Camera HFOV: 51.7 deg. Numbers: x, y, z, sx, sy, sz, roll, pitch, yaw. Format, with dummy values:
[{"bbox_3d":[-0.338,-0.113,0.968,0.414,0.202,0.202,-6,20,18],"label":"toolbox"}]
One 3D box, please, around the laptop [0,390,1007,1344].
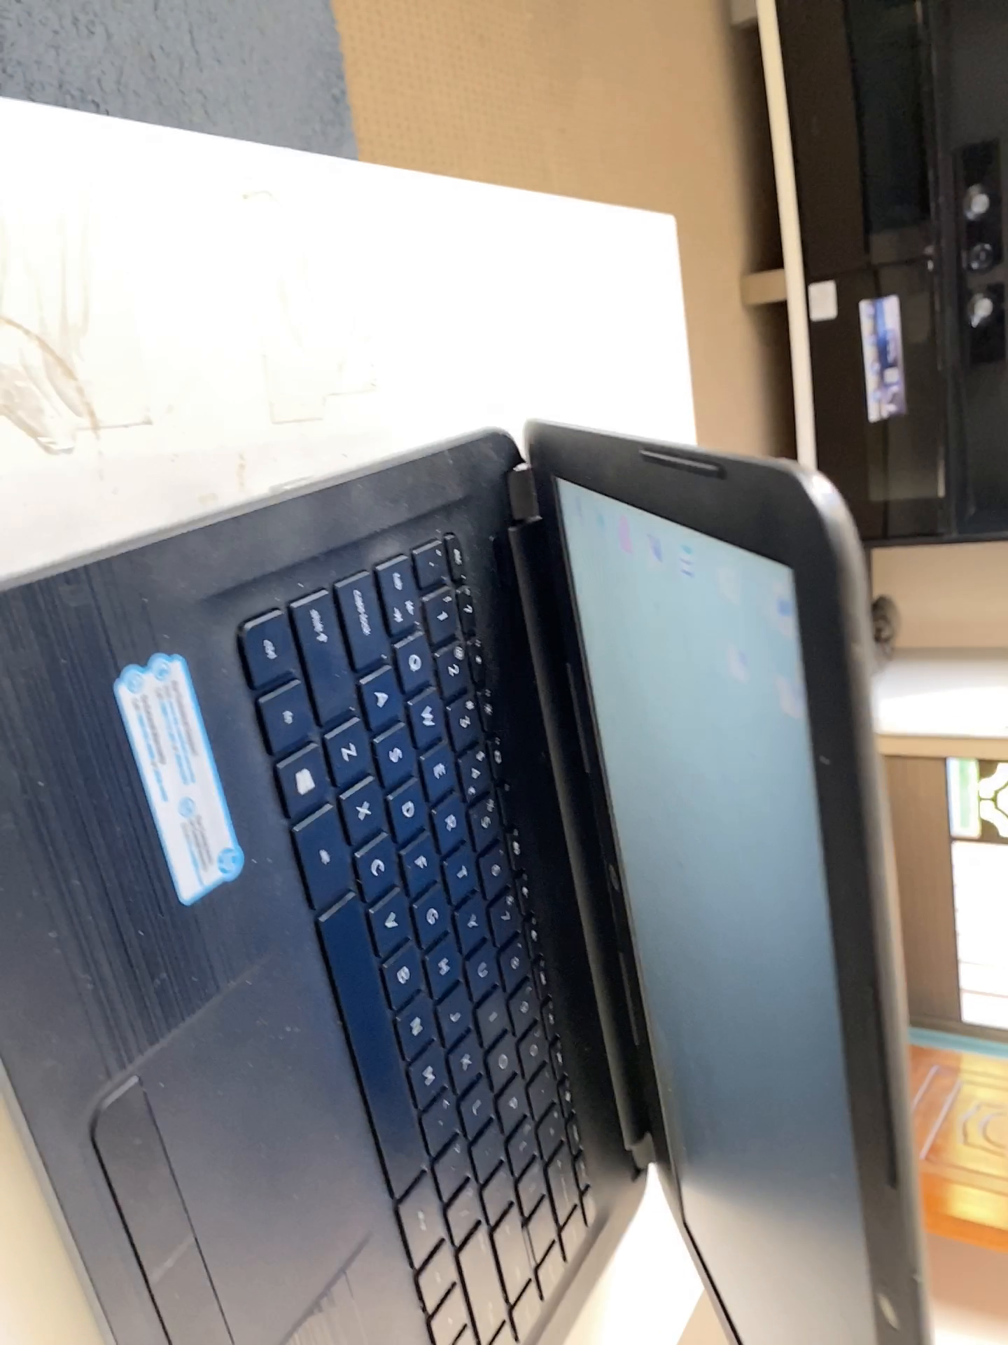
[{"bbox_3d":[0.039,0.117,0.291,0.226,0.154,0.336,-32,116,-53],"label":"laptop"}]
